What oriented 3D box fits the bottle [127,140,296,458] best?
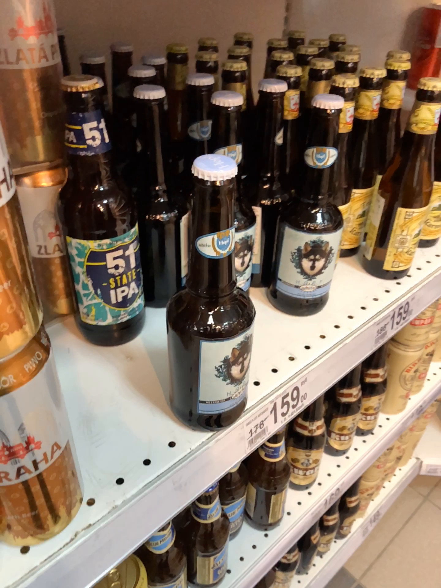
[{"bbox_3d":[-0.009,0.011,0.367,0.070,0.219,0.080,29,43,31],"label":"bottle"}]
